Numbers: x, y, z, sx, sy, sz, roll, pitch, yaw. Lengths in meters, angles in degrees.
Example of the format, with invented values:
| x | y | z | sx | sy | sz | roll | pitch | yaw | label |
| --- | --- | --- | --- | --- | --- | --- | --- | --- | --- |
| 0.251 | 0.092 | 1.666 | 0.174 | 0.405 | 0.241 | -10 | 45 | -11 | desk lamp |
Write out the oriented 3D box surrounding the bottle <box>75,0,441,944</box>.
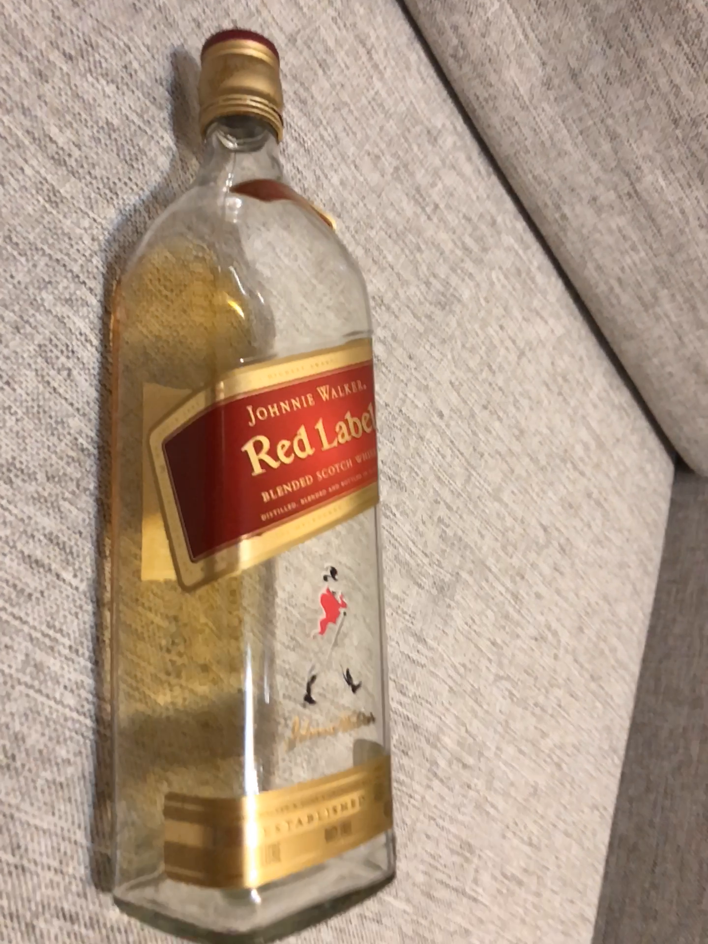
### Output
| x | y | z | sx | sy | sz | roll | pitch | yaw | label |
| --- | --- | --- | --- | --- | --- | --- | --- | --- | --- |
| -0.030 | -0.022 | 0.267 | 0.091 | 0.070 | 0.310 | 8 | 79 | -49 | bottle |
